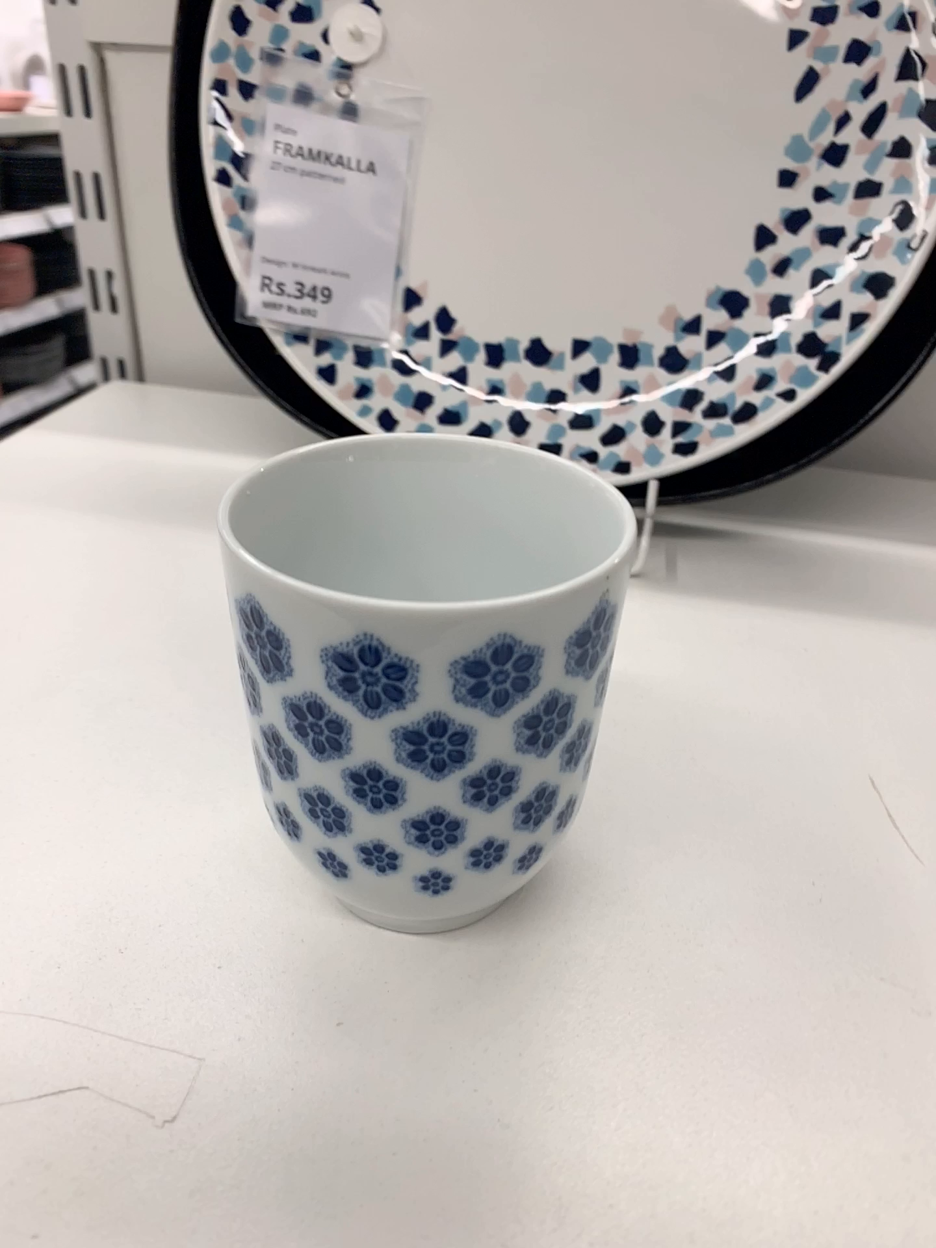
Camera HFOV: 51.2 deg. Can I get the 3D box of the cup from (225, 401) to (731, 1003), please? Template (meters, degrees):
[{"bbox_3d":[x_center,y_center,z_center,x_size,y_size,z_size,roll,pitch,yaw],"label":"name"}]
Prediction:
[{"bbox_3d":[-0.007,0.008,0.192,0.070,0.080,0.080,-5,30,-15],"label":"cup"}]
